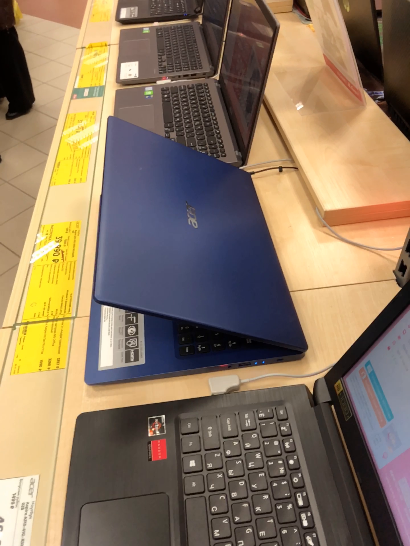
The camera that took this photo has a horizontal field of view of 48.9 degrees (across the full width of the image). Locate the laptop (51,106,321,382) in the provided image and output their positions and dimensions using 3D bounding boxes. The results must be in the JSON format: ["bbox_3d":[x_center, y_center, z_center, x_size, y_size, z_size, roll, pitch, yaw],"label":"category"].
[{"bbox_3d":[-0.030,-0.066,0.585,0.245,0.126,0.369,-7,43,-1],"label":"laptop"}]

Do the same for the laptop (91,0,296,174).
[{"bbox_3d":[-0.033,-0.411,0.865,0.302,0.206,0.392,-8,45,1],"label":"laptop"}]

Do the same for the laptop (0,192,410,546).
[{"bbox_3d":[0.054,0.165,0.250,0.353,0.227,0.359,-5,43,1],"label":"laptop"}]
